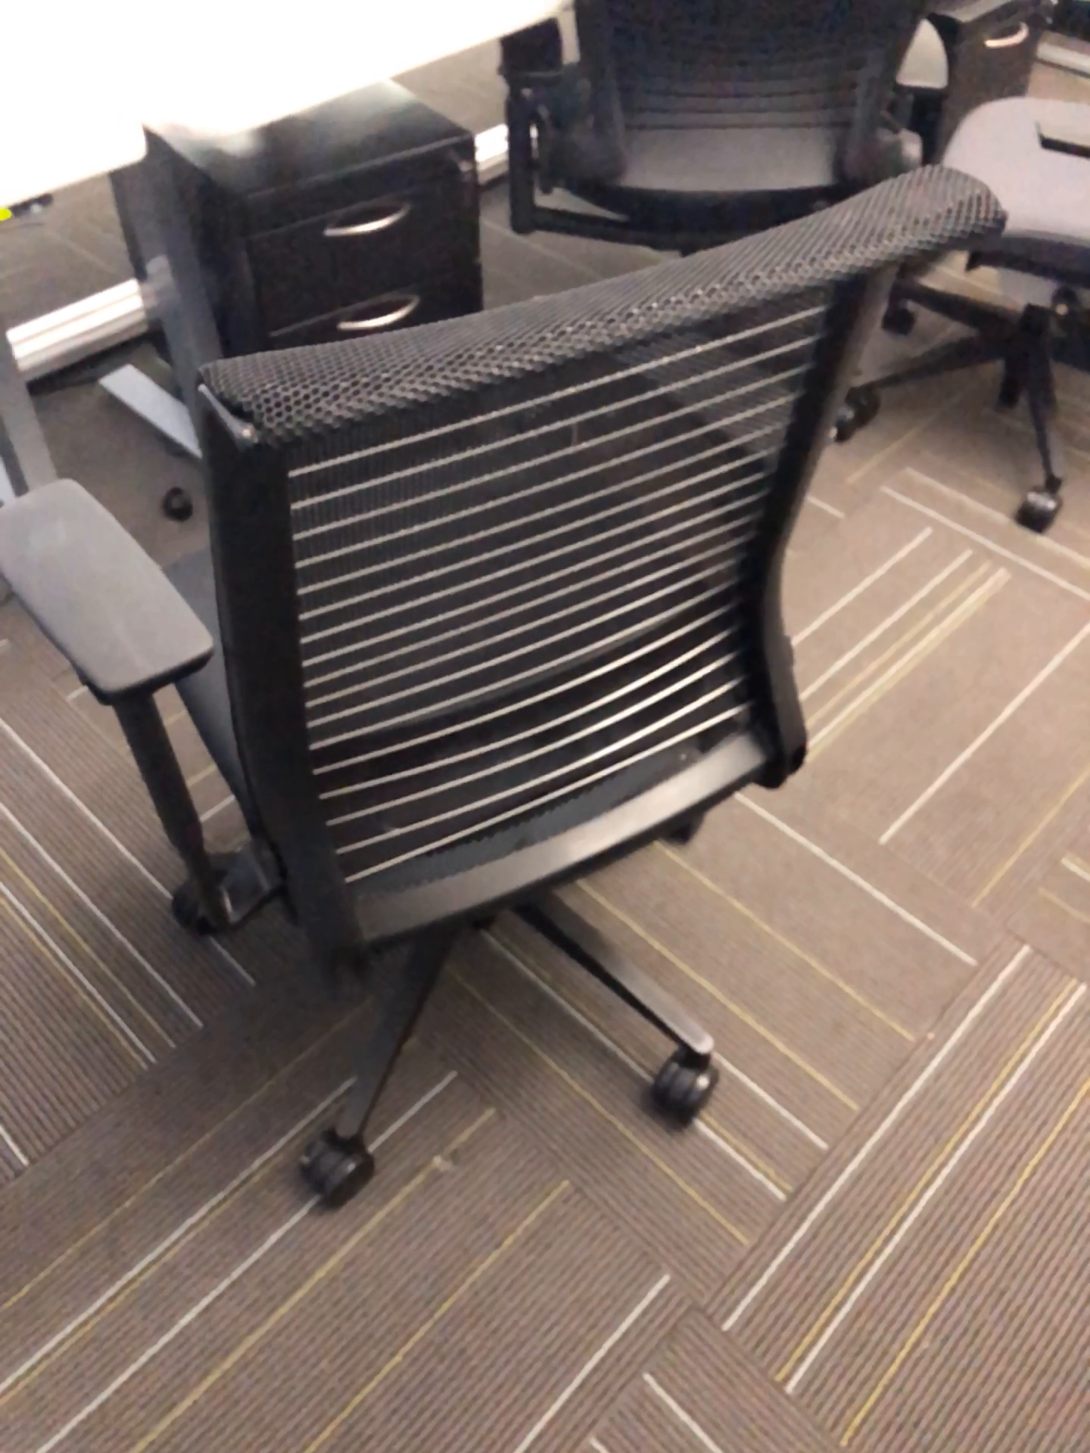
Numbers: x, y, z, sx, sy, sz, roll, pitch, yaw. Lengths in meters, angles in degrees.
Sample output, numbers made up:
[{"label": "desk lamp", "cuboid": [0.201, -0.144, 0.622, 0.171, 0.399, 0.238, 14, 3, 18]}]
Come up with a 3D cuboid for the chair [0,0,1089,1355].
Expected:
[{"label": "chair", "cuboid": [-0.053, -0.103, 1.081, 0.750, 0.996, 0.662, -25, 53, -21]}]
